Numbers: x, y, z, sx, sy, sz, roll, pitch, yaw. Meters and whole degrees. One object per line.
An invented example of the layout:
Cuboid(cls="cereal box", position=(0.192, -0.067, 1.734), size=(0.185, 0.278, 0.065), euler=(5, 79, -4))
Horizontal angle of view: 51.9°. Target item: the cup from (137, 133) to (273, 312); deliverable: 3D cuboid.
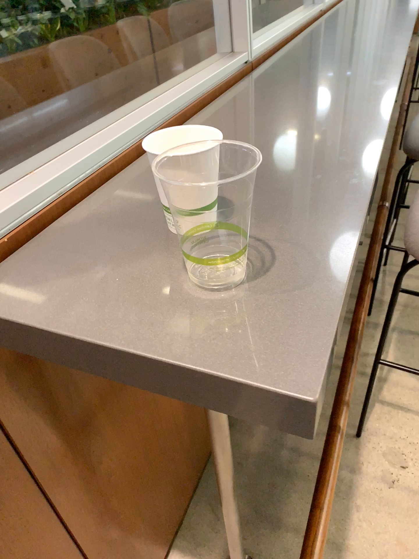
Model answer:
Cuboid(cls="cup", position=(-0.003, -0.055, 0.400), size=(0.090, 0.119, 0.091), euler=(-4, 36, 3))

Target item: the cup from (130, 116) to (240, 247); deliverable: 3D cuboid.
Cuboid(cls="cup", position=(-0.026, -0.117, 0.504), size=(0.090, 0.109, 0.080), euler=(-22, 39, -19))
